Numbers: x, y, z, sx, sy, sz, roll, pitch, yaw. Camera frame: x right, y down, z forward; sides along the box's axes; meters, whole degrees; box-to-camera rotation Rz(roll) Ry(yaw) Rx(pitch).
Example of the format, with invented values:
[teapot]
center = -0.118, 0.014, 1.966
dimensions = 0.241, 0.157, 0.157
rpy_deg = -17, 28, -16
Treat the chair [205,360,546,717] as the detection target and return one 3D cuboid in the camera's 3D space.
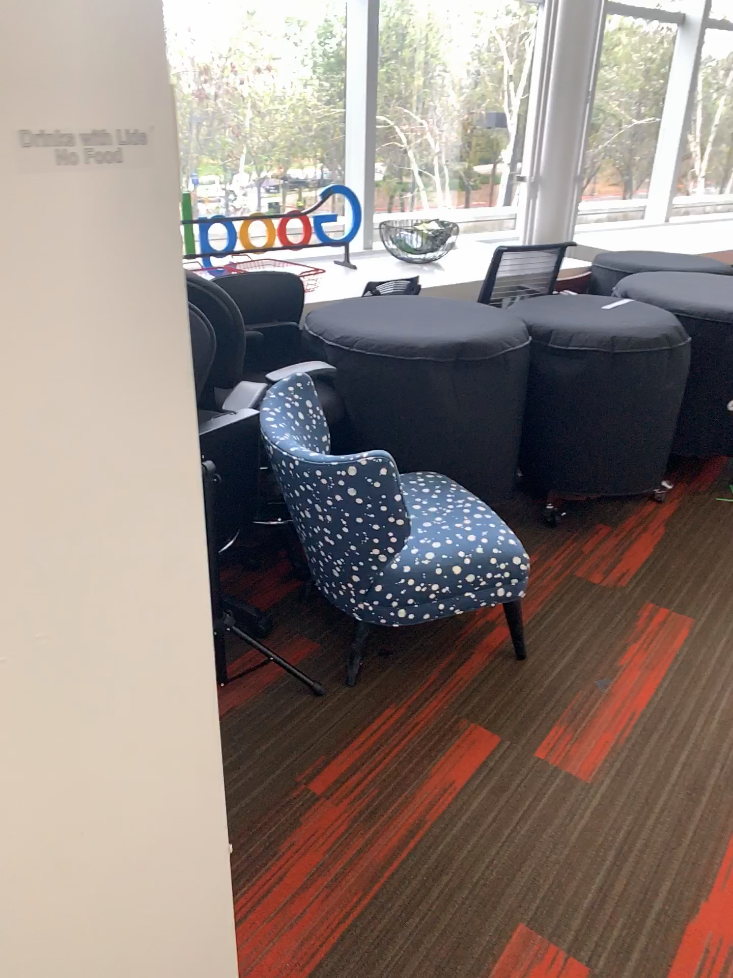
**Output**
[chair]
center = -0.052, 0.071, 2.492
dimensions = 0.770, 0.686, 1.005
rpy_deg = -7, 27, -18
